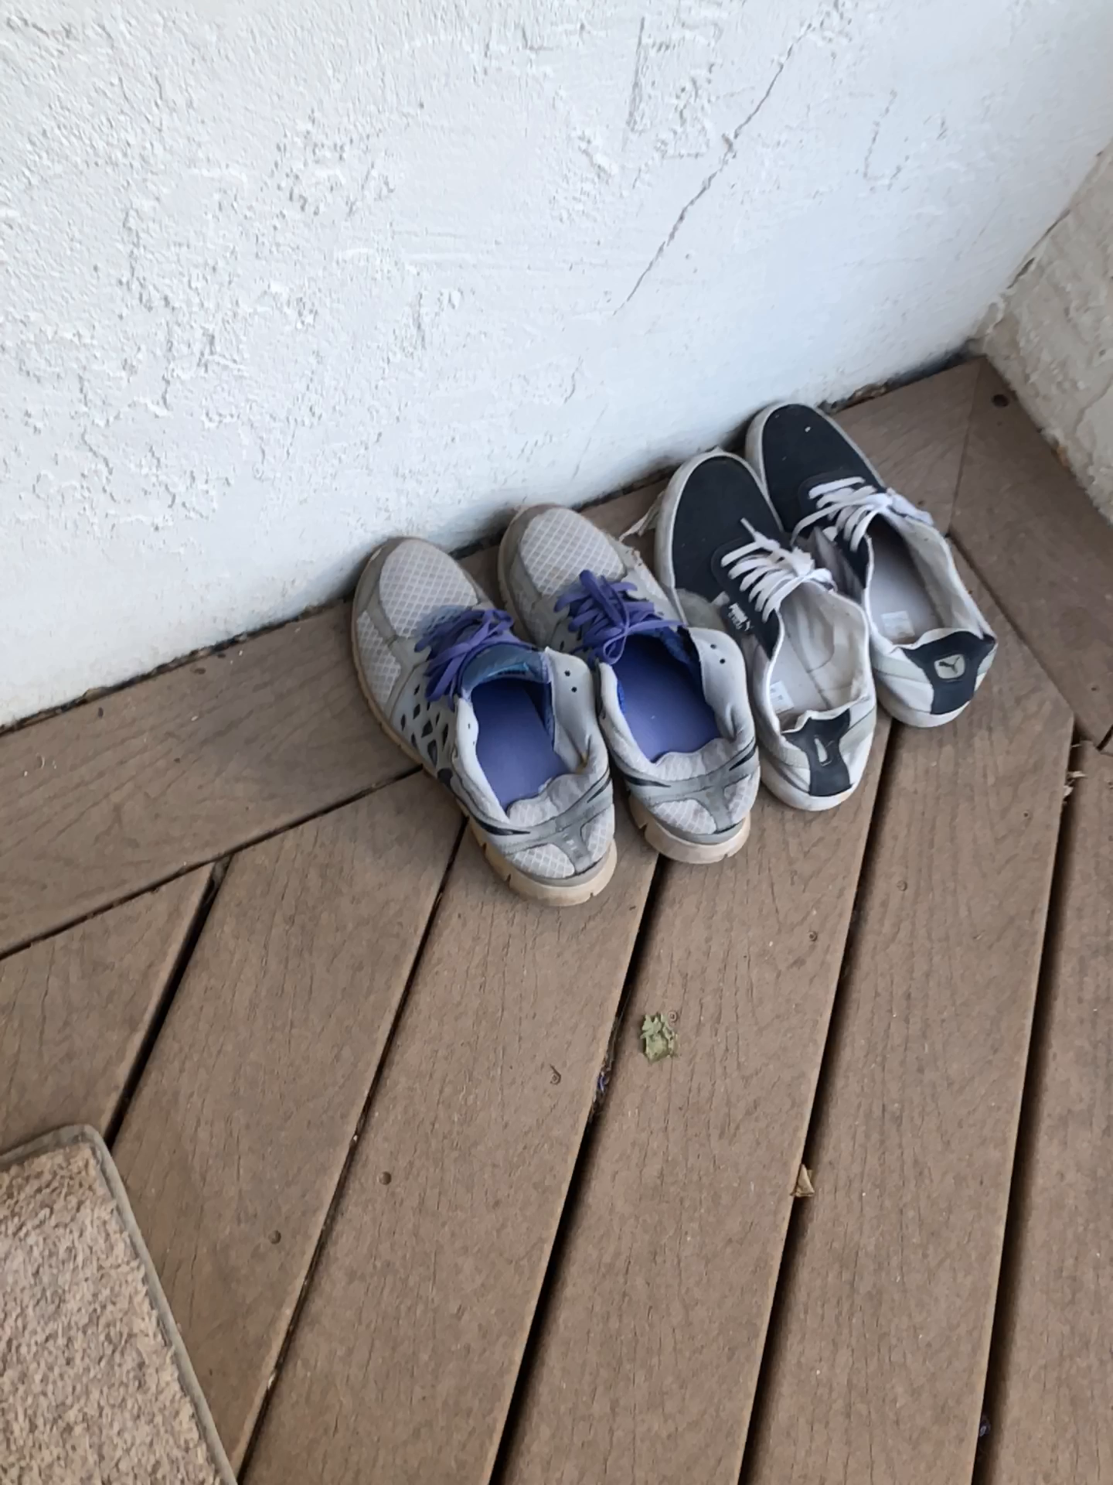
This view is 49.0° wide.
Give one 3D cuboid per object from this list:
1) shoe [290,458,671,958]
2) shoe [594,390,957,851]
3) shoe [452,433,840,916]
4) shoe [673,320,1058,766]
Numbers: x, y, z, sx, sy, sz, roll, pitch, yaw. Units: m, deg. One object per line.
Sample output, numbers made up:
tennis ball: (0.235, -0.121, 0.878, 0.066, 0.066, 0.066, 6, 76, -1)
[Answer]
shoe: (-0.062, -0.027, 0.862, 0.120, 0.100, 0.320, -25, 74, -18)
shoe: (0.156, -0.096, 0.931, 0.120, 0.100, 0.320, -19, 73, -16)
shoe: (0.054, -0.052, 0.890, 0.120, 0.100, 0.320, -25, 74, -18)
shoe: (0.236, -0.162, 0.978, 0.120, 0.100, 0.330, -24, 74, -17)
